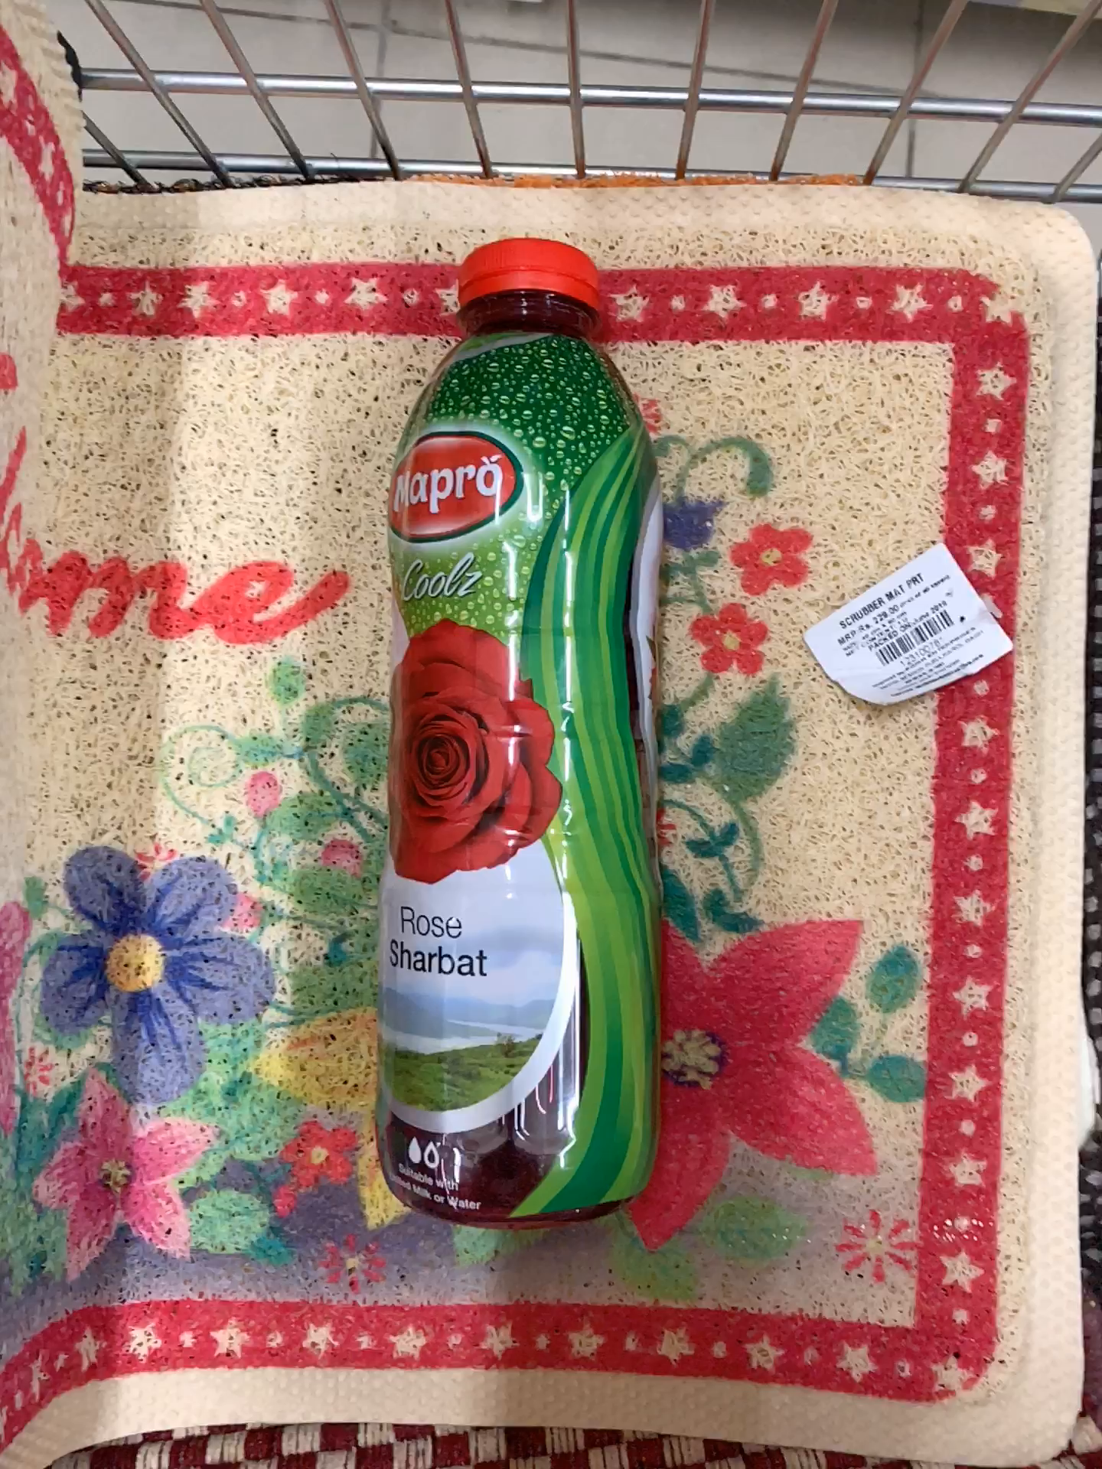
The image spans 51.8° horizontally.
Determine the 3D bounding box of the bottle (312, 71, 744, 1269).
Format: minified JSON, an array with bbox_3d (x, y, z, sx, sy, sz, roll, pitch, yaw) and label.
[{"bbox_3d":[-0.003,-0.013,0.291,0.080,0.080,0.250,0,90,28],"label":"bottle"}]
